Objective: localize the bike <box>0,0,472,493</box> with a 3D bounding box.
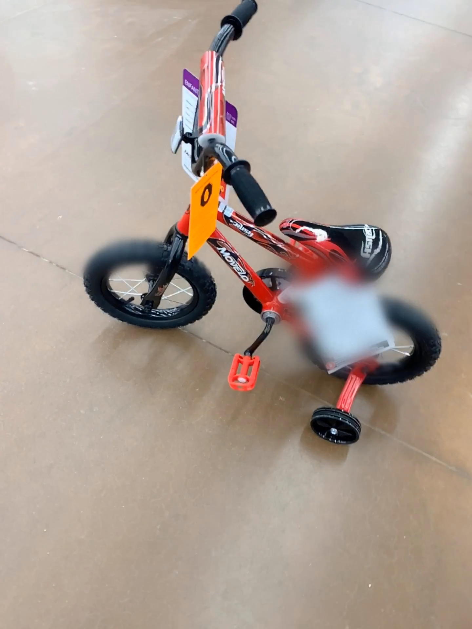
[{"bbox_3d":[0.071,-0.116,0.798,0.735,0.604,0.441,15,51,1],"label":"bike"}]
